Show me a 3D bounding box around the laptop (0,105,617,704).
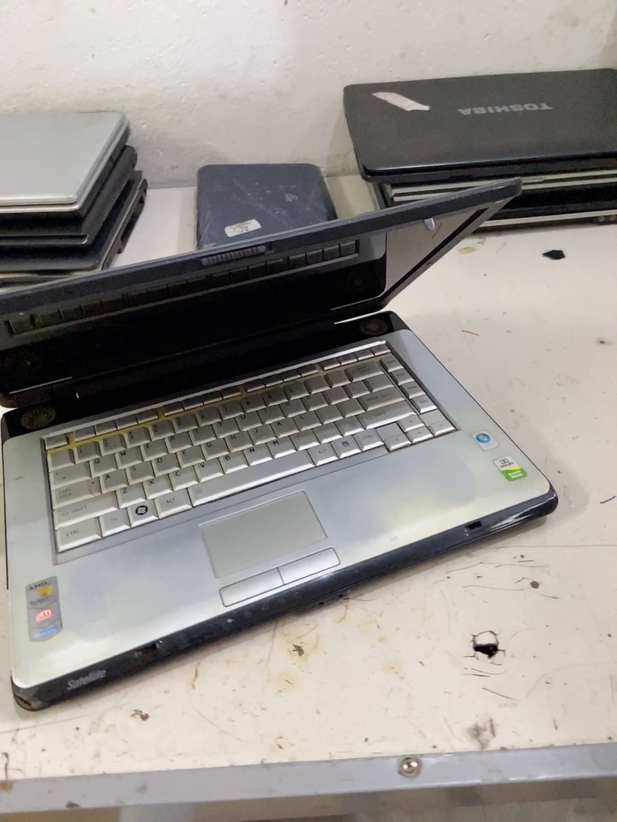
[{"bbox_3d":[-0.043,-0.037,0.423,0.356,0.185,0.258,-17,44,-14],"label":"laptop"}]
